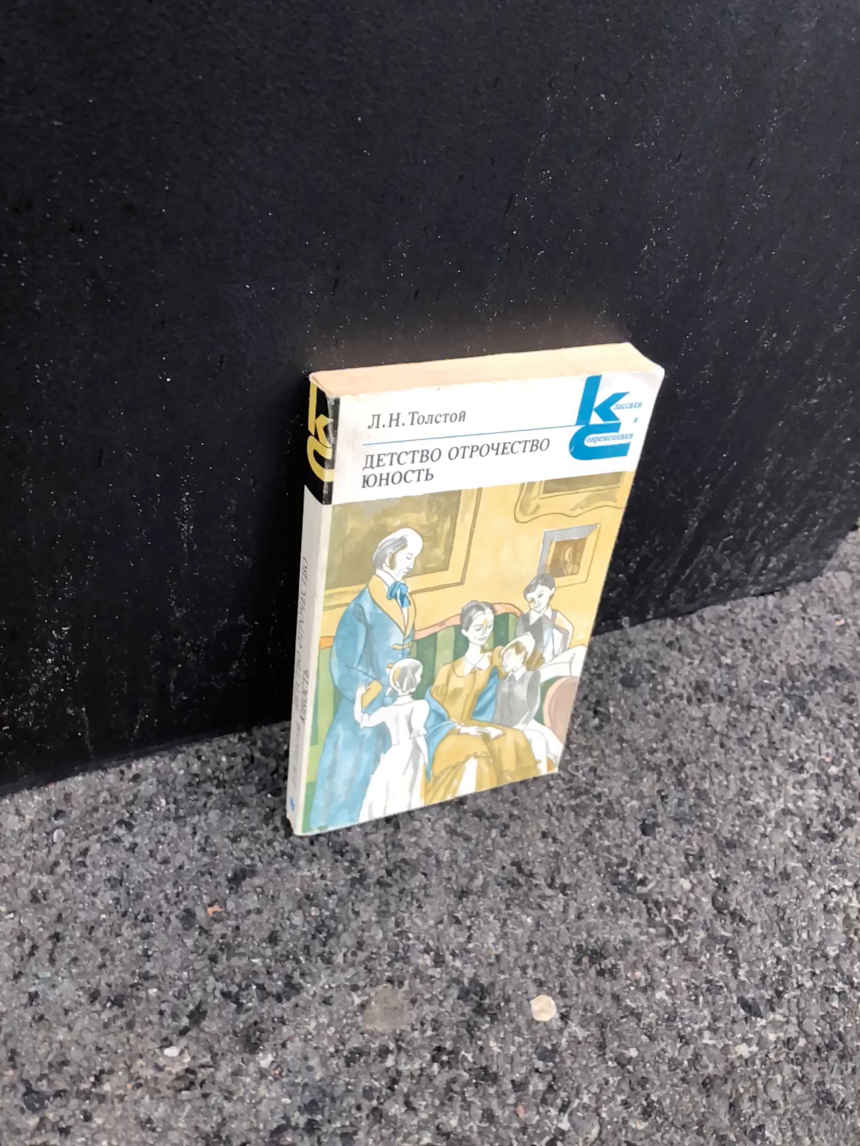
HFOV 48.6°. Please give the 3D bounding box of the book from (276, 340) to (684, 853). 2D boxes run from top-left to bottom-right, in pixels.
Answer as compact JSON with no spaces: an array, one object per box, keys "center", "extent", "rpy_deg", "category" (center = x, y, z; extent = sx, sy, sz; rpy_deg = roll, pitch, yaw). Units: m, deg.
[{"center":[0.011,0.012,0.344],"extent":[0.120,0.184,0.030],"rpy_deg":[-9,37,-25],"category":"book"}]
